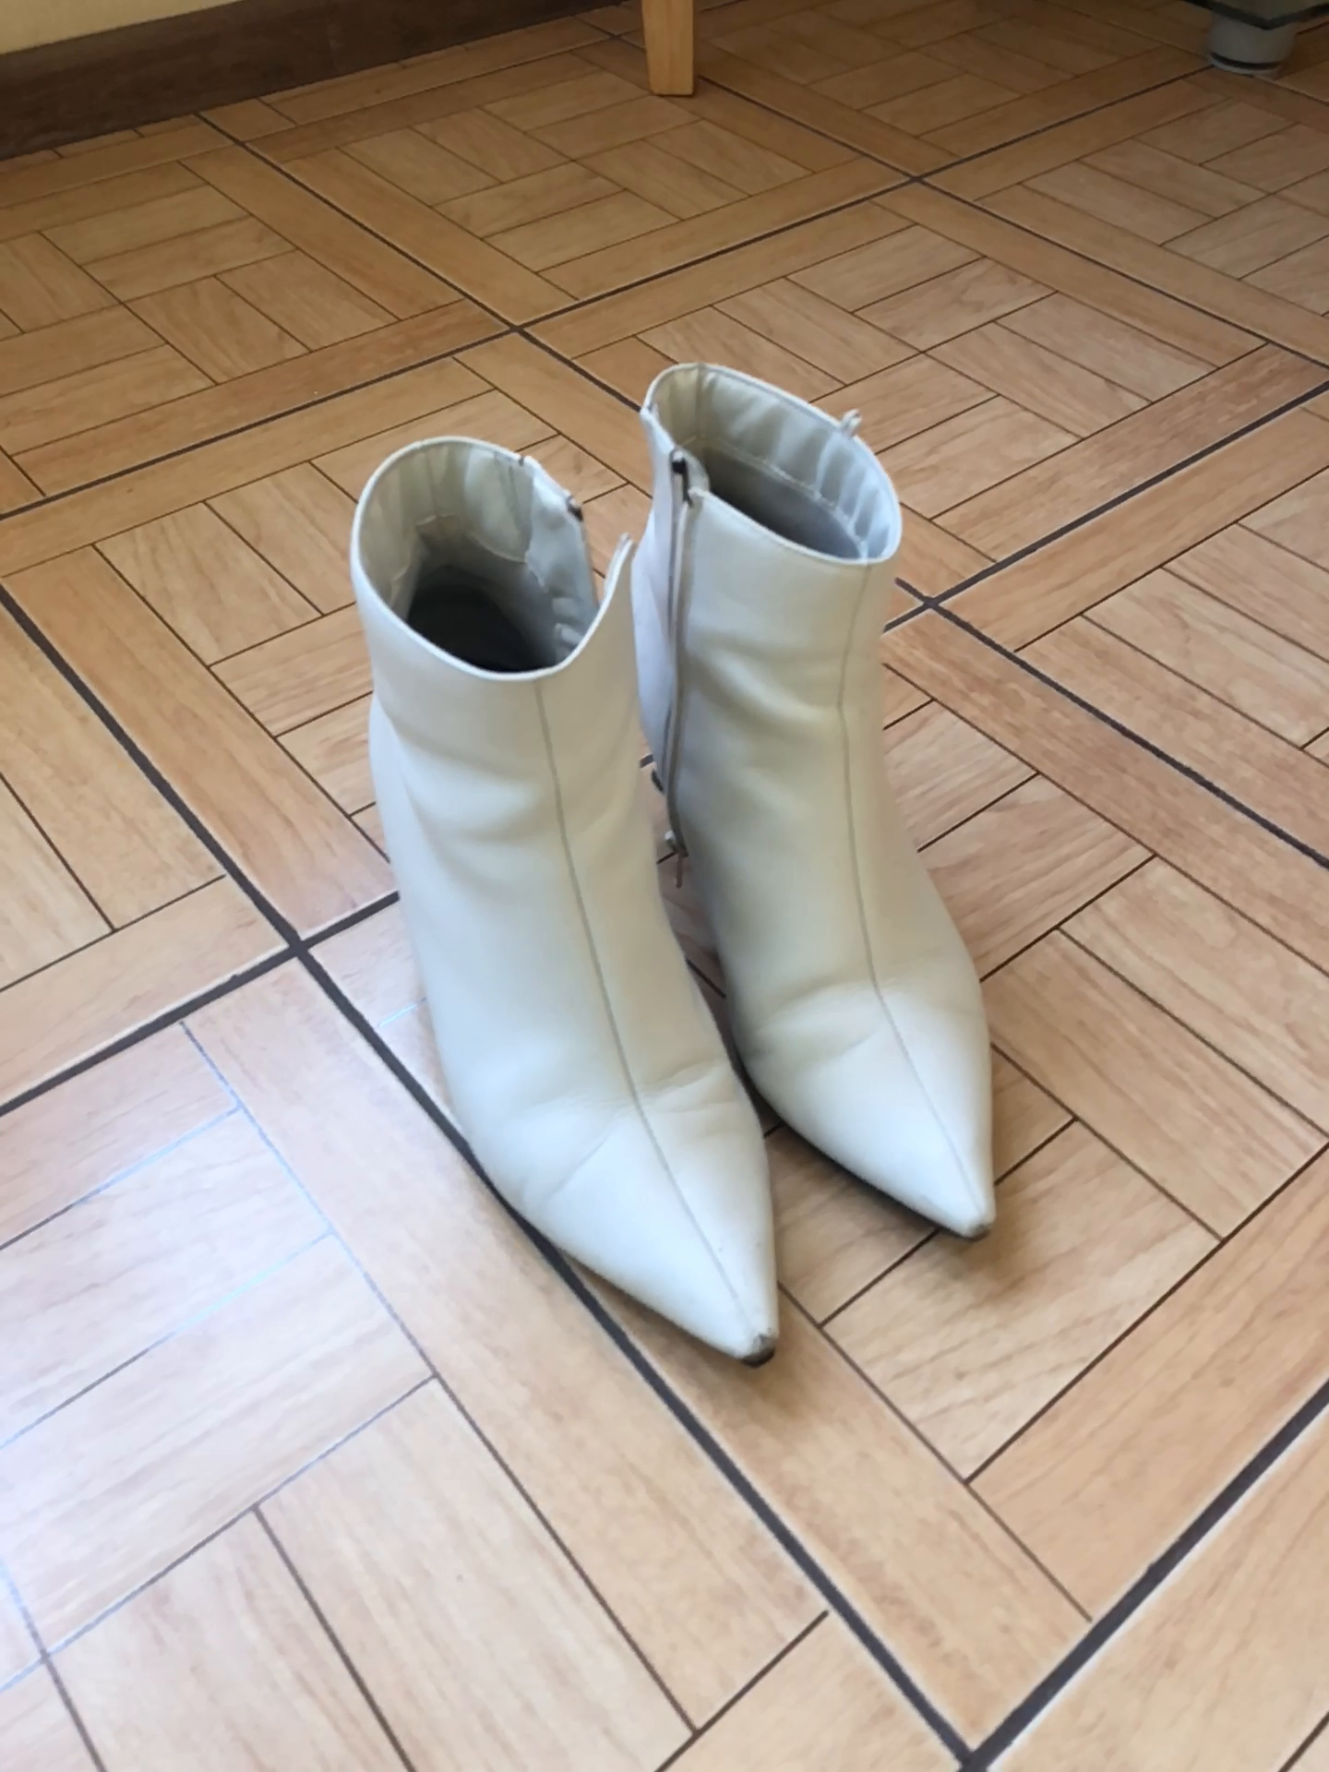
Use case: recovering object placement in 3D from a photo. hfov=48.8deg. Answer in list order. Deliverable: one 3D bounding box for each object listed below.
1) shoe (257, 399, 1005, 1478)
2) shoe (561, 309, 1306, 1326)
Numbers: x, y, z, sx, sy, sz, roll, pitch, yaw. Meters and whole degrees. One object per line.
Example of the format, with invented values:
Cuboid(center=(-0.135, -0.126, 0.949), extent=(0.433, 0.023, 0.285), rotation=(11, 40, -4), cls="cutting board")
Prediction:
Cuboid(center=(-0.026, 0.002, 0.418), extent=(0.100, 0.154, 0.254), rotation=(-16, 50, -15), cls="shoe")
Cuboid(center=(0.052, -0.036, 0.453), extent=(0.100, 0.154, 0.275), rotation=(-11, 49, -12), cls="shoe")
